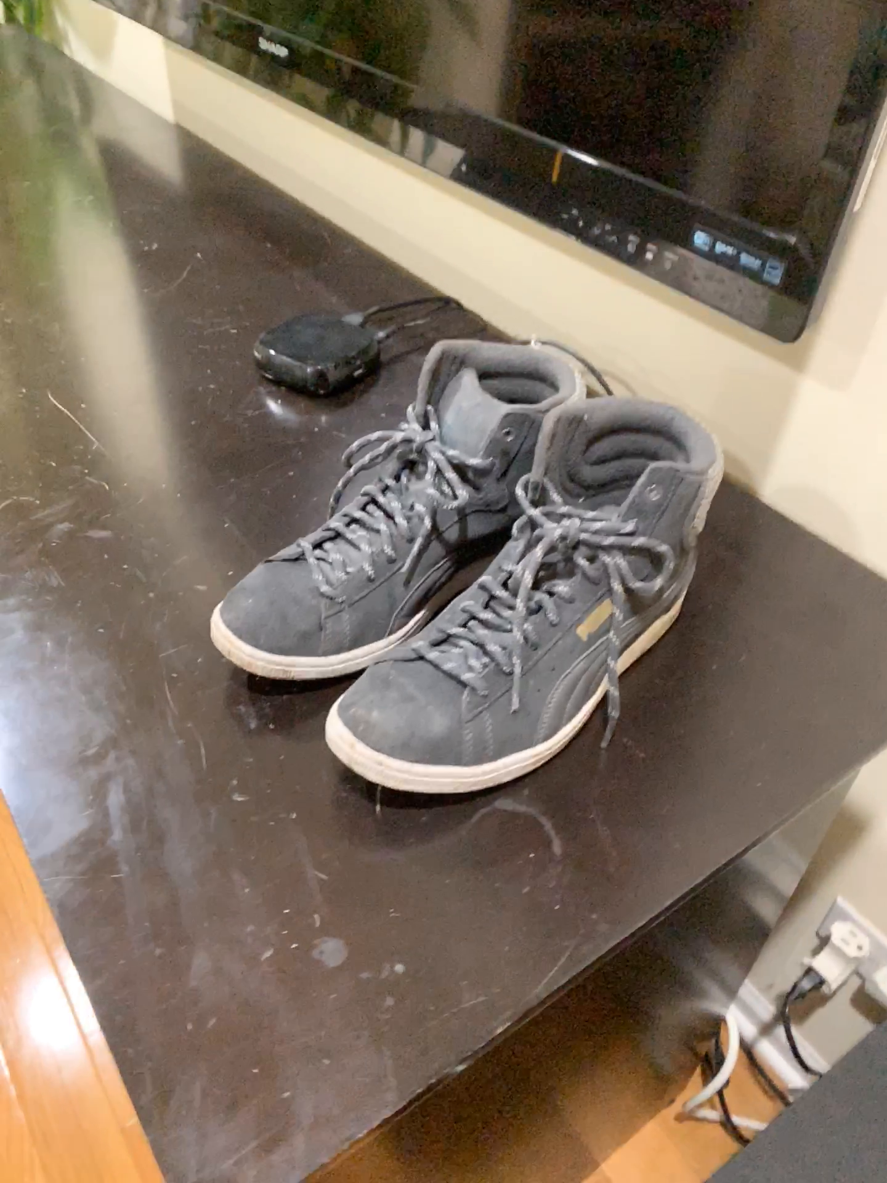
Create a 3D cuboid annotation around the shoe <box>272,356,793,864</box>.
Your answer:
[{"bbox_3d":[0.051,-0.005,0.460,0.253,0.124,0.097,-32,52,-33],"label":"shoe"}]

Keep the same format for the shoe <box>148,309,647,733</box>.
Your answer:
[{"bbox_3d":[-0.014,-0.054,0.510,0.262,0.107,0.100,-32,53,-33],"label":"shoe"}]
